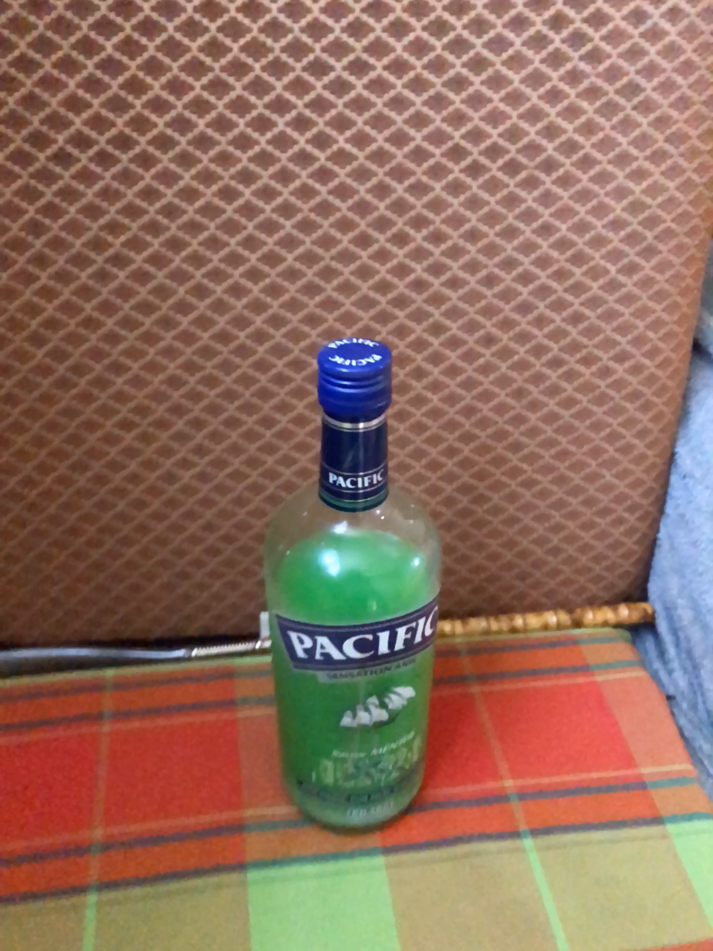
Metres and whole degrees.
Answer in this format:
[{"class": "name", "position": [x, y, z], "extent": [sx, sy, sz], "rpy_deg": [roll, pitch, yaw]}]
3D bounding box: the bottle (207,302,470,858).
[{"class": "bottle", "position": [-0.008, 0.068, 0.404], "extent": [0.090, 0.288, 0.080], "rpy_deg": [-10, 36, -13]}]
